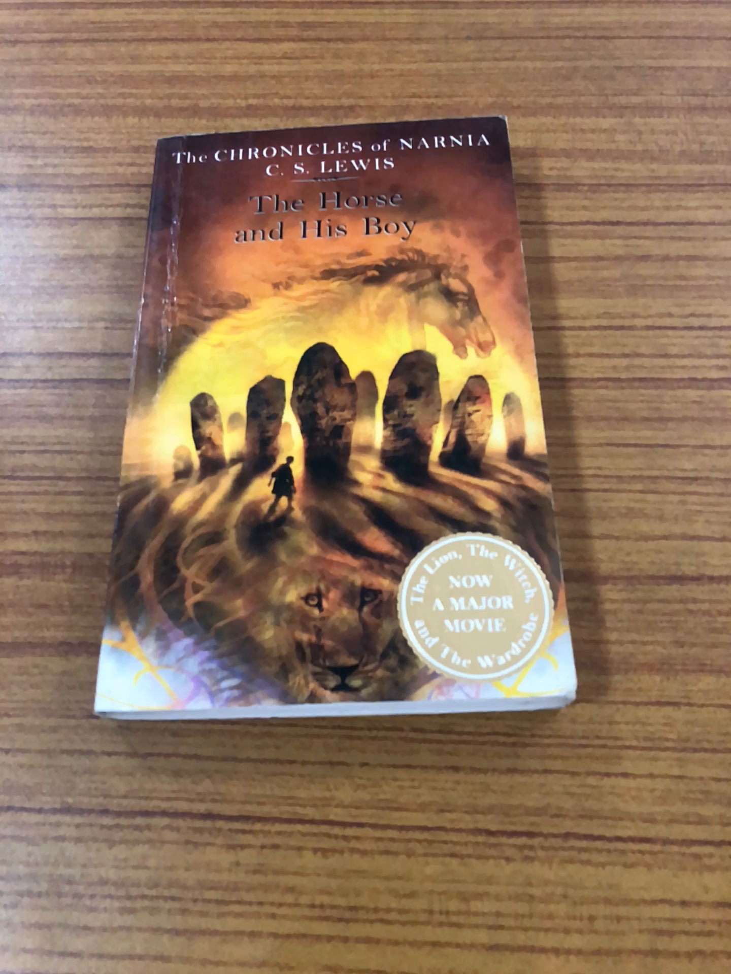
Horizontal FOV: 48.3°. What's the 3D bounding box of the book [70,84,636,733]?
[{"bbox_3d":[-0.005,-0.030,0.217,0.120,0.020,0.180,-2,67,2],"label":"book"}]
